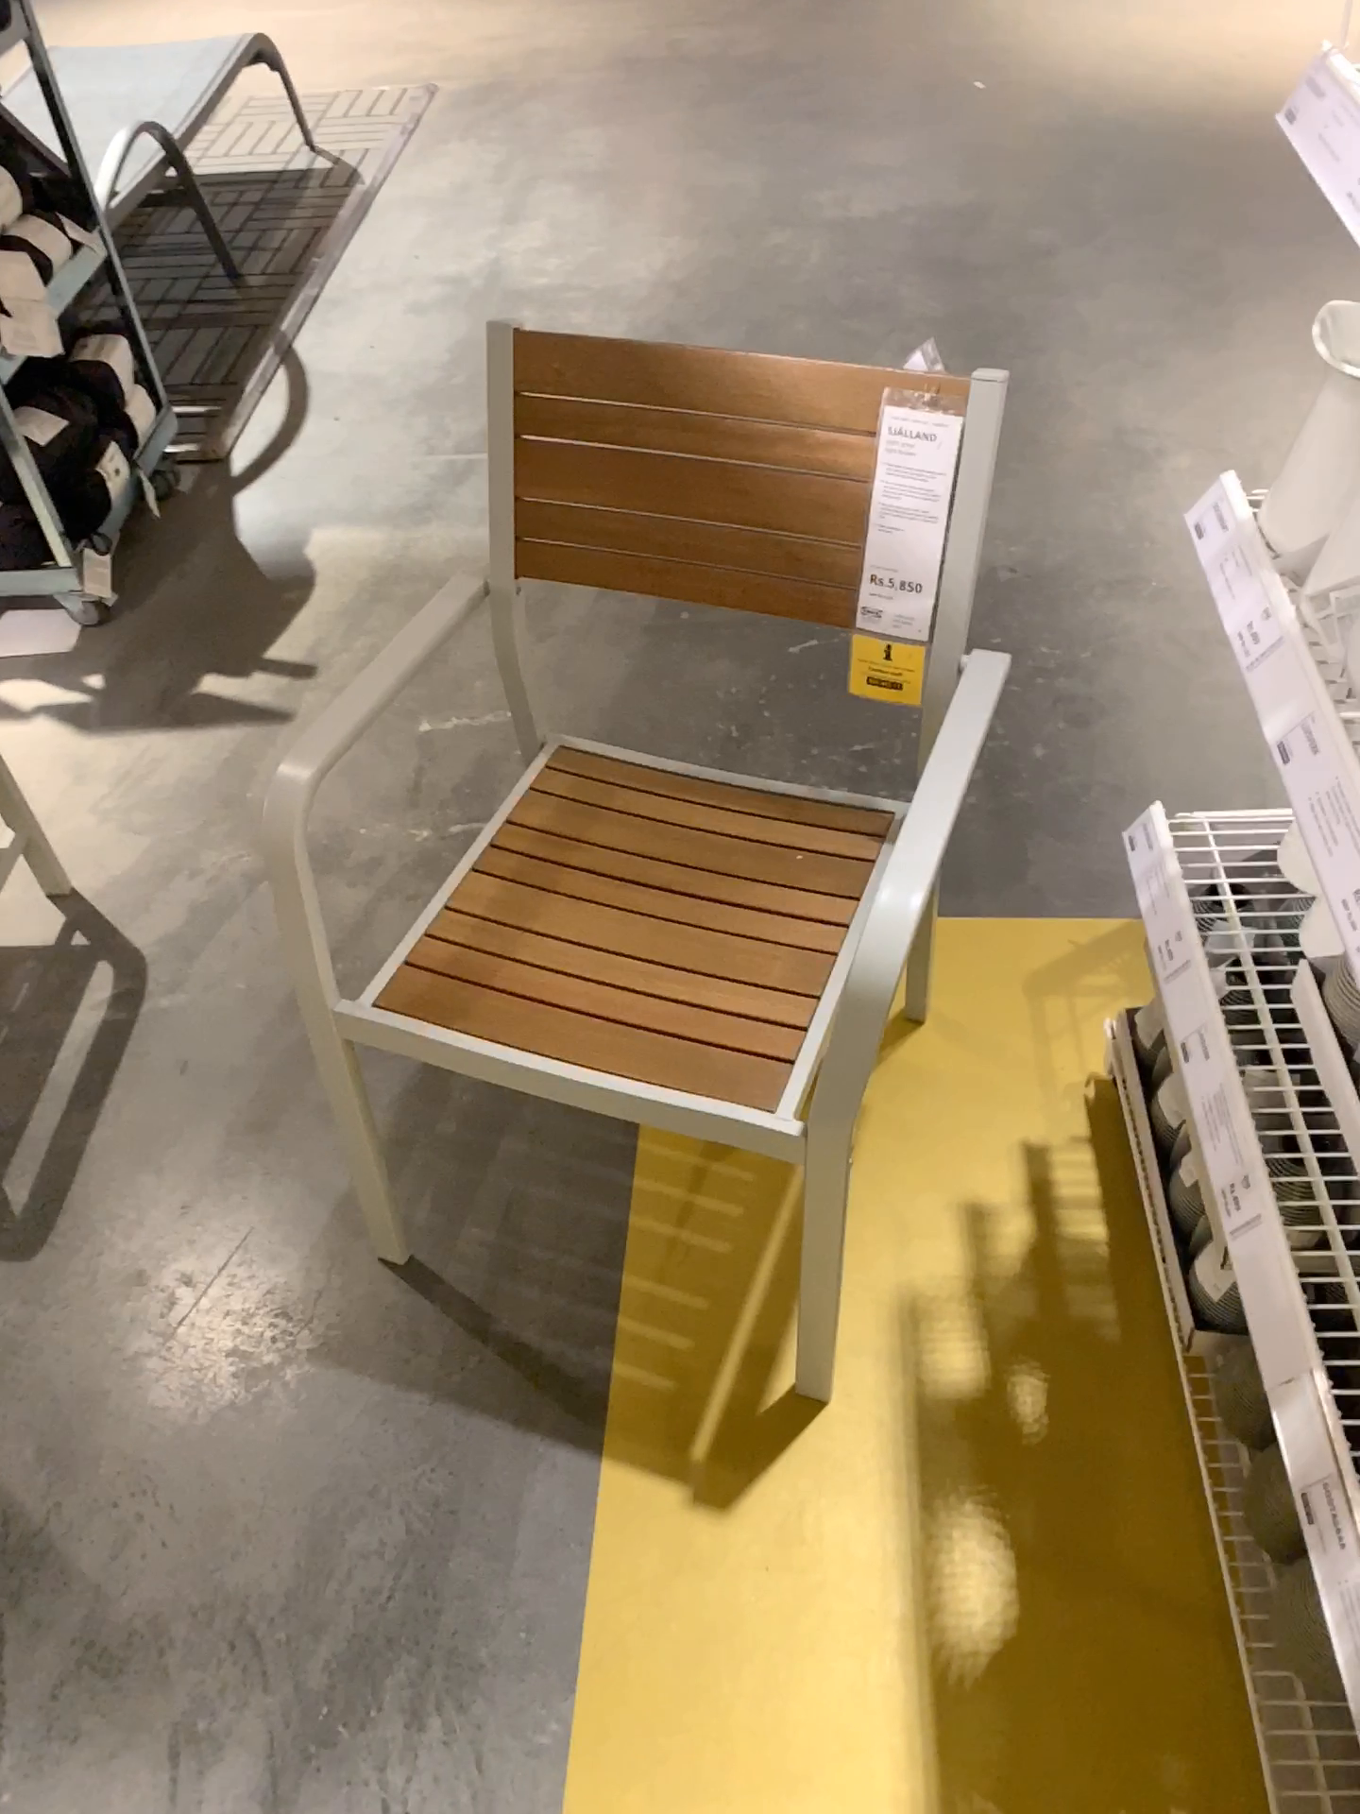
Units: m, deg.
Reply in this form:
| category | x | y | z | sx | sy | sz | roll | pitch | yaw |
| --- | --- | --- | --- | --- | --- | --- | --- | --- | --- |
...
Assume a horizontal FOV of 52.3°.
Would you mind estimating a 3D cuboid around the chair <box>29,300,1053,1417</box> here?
| category | x | y | z | sx | sy | sz | roll | pitch | yaw |
| --- | --- | --- | --- | --- | --- | --- | --- | --- | --- |
| chair | -0.040 | -0.049 | 1.290 | 0.561 | 0.727 | 0.601 | 13 | 49 | 18 |
